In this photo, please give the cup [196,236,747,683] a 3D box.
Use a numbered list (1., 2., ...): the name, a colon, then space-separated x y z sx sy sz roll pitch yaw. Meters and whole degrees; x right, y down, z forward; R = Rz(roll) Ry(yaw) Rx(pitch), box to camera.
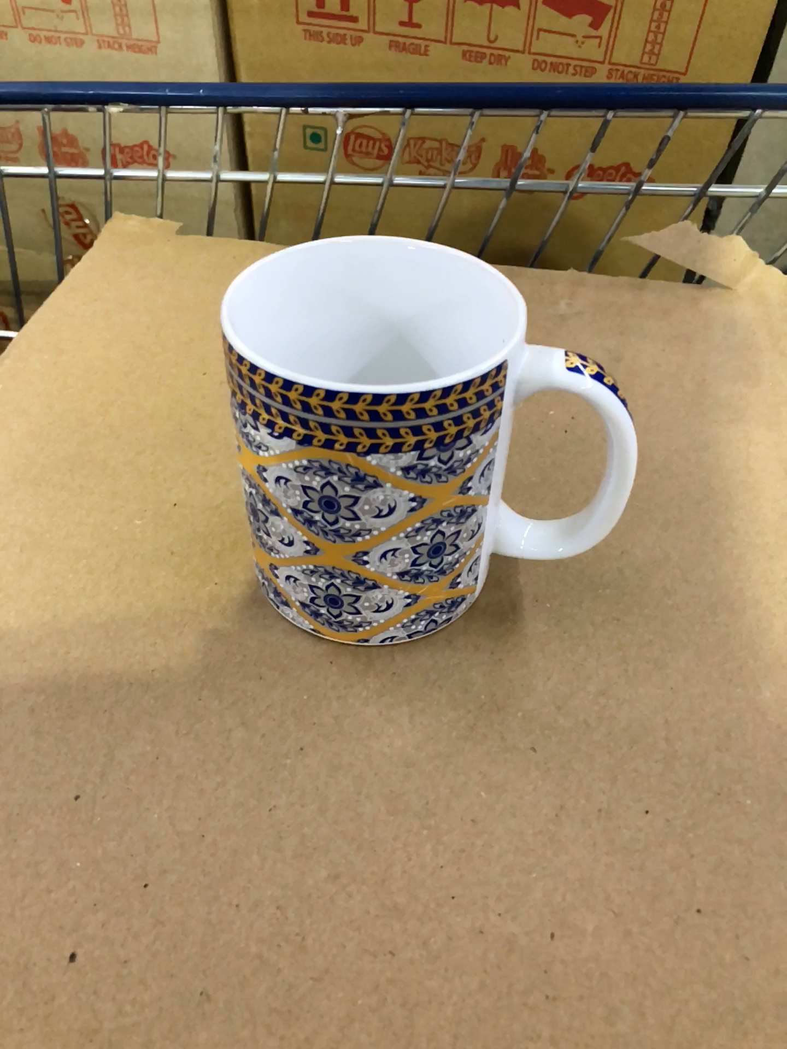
1. cup: 0.016 -0.018 0.252 0.120 0.099 0.080 0 39 -2
